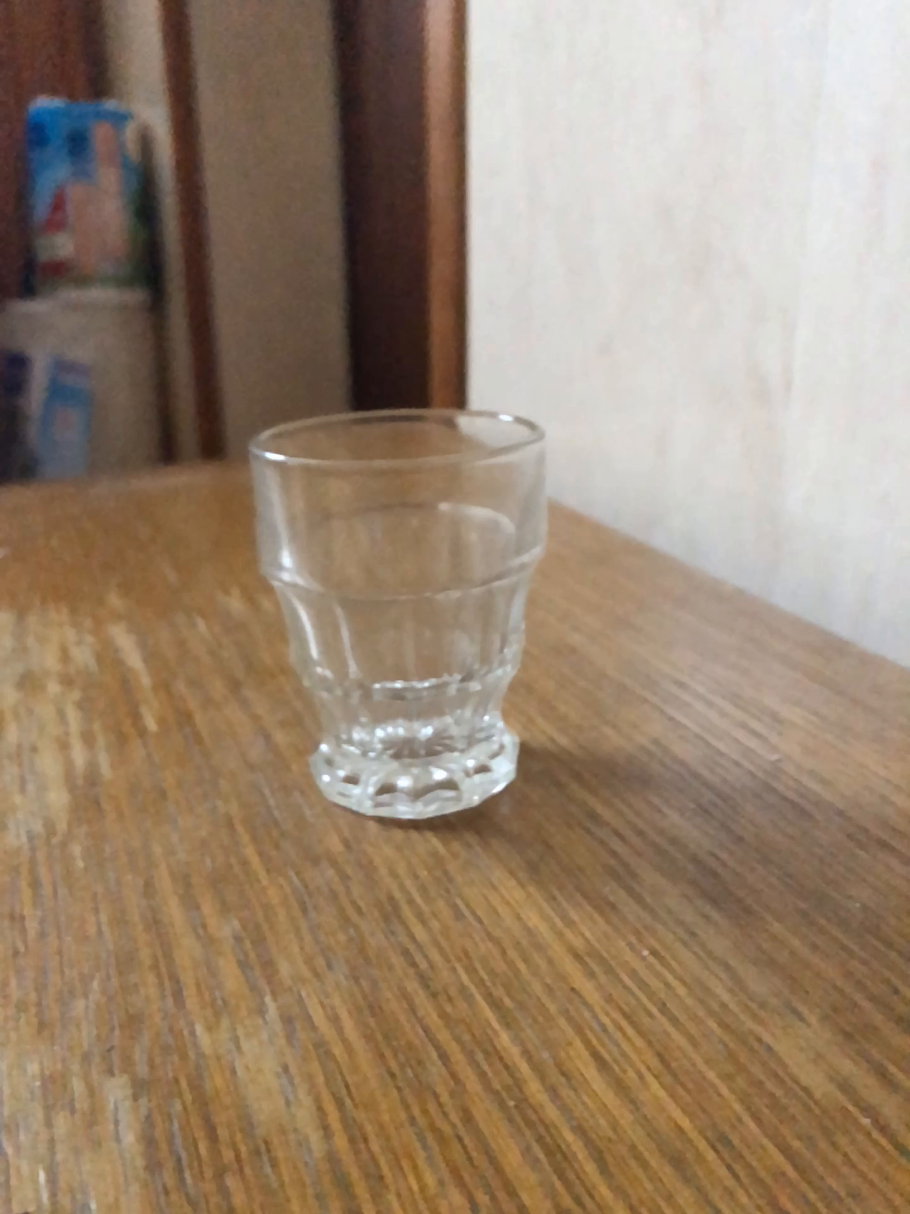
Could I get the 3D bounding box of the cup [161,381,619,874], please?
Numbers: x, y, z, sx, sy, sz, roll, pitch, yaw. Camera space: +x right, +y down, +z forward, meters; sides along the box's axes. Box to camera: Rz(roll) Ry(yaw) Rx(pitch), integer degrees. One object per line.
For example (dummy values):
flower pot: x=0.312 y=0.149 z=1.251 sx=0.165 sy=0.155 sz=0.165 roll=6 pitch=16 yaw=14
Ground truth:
cup: x=-0.012 y=-0.003 z=0.202 sx=0.060 sy=0.070 sz=0.060 roll=-1 pitch=20 yaw=0
